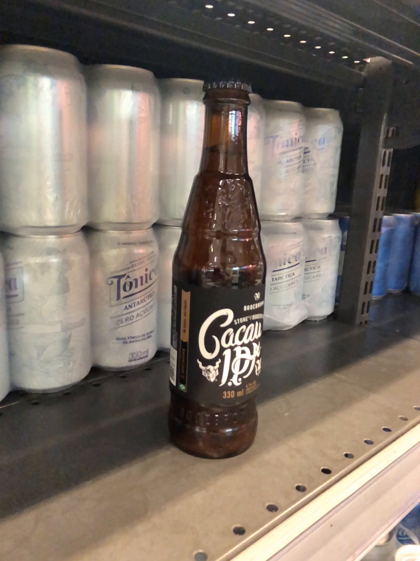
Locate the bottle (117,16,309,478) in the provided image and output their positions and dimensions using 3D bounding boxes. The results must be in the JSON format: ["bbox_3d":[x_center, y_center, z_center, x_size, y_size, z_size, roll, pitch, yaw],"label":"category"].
[{"bbox_3d":[-0.006,-0.015,0.295,0.080,0.249,0.070,-6,18,-33],"label":"bottle"}]
